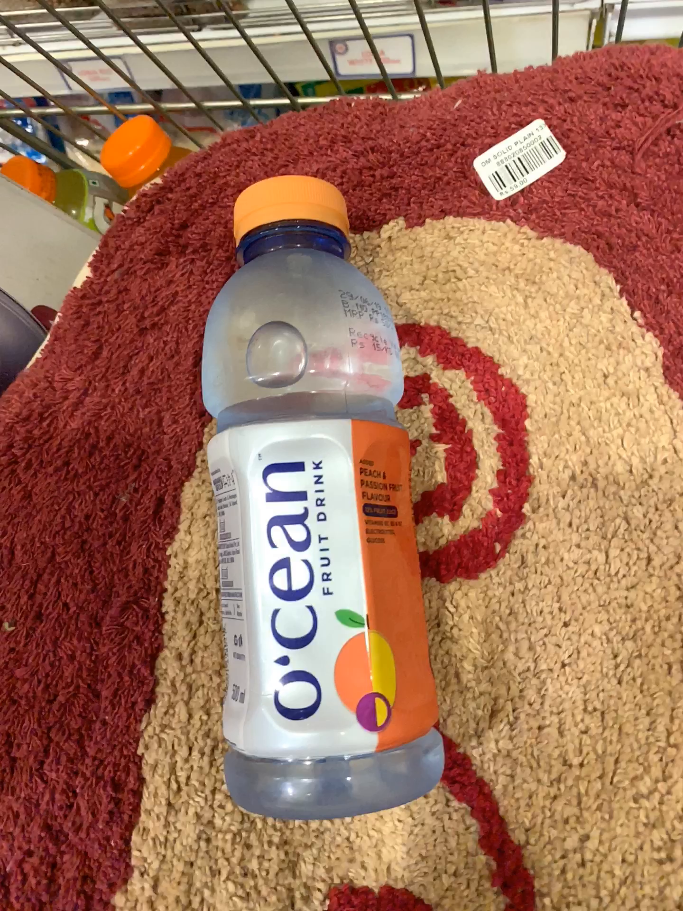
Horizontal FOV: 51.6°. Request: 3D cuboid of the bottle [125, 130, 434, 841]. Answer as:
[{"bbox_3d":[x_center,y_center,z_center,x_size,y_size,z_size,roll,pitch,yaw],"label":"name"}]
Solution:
[{"bbox_3d":[-0.015,0.008,0.213,0.070,0.060,0.180,-5,85,7],"label":"bottle"}]
